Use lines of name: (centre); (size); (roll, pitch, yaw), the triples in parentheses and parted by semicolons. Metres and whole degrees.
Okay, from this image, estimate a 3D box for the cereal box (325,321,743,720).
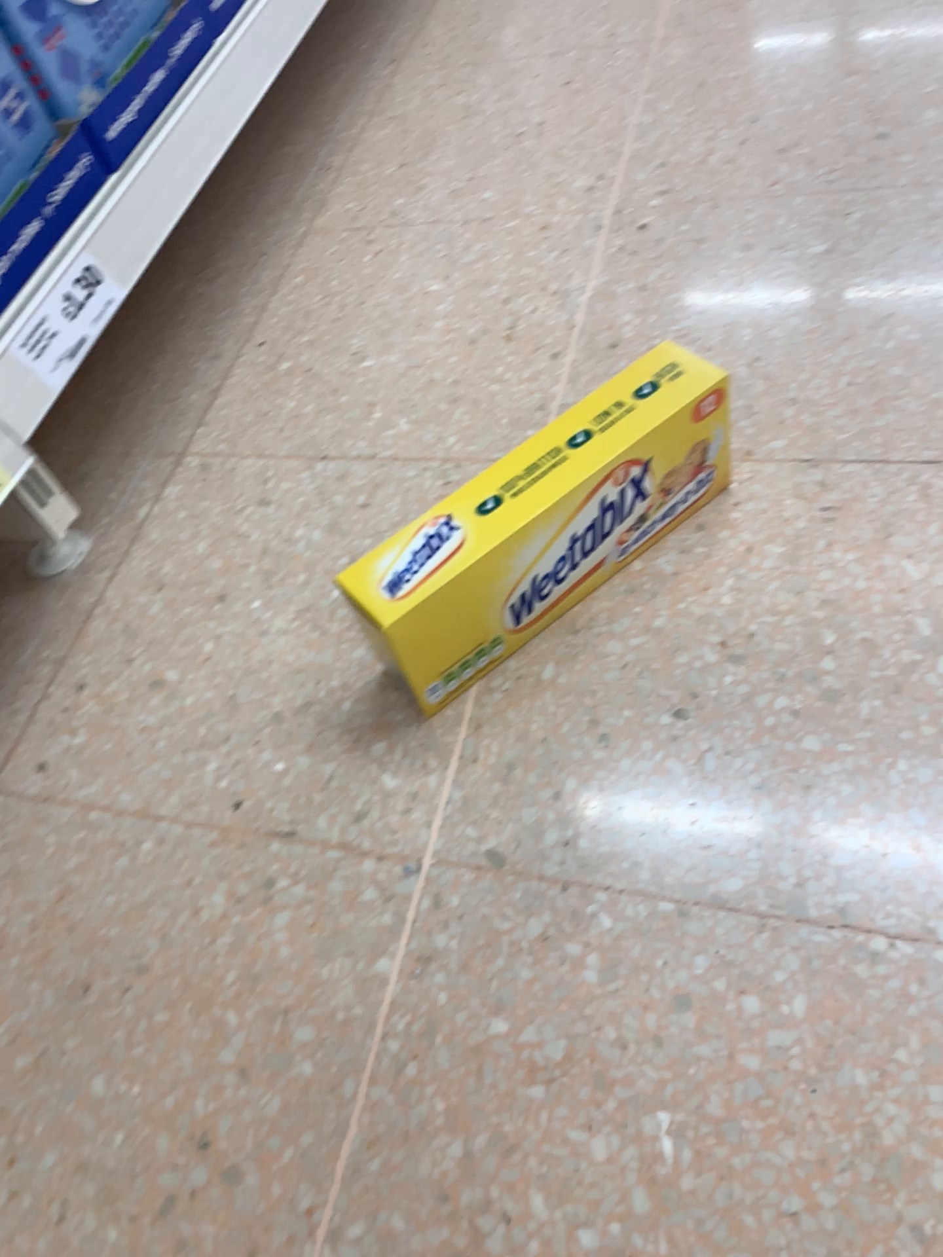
cereal box: (0.048, -0.065, 0.570); (0.260, 0.099, 0.050); (-37, 53, -12)
